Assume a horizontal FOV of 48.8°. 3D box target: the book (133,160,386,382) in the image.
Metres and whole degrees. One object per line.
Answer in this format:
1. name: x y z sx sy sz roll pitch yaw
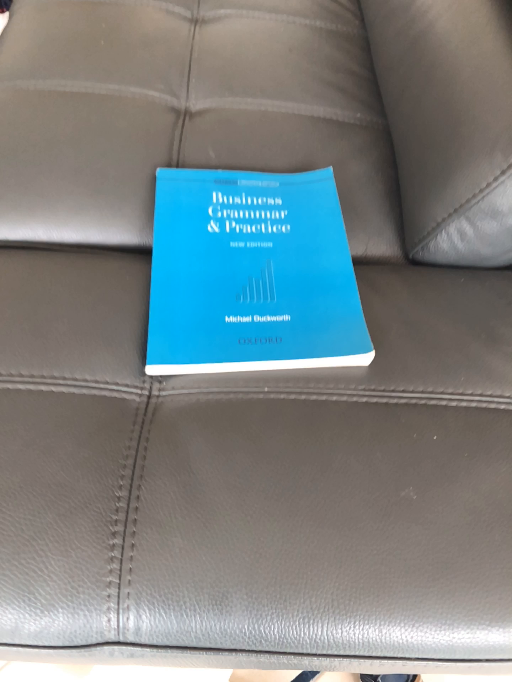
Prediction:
1. book: -0.006 -0.090 0.597 0.230 0.020 0.281 -3 56 -4
